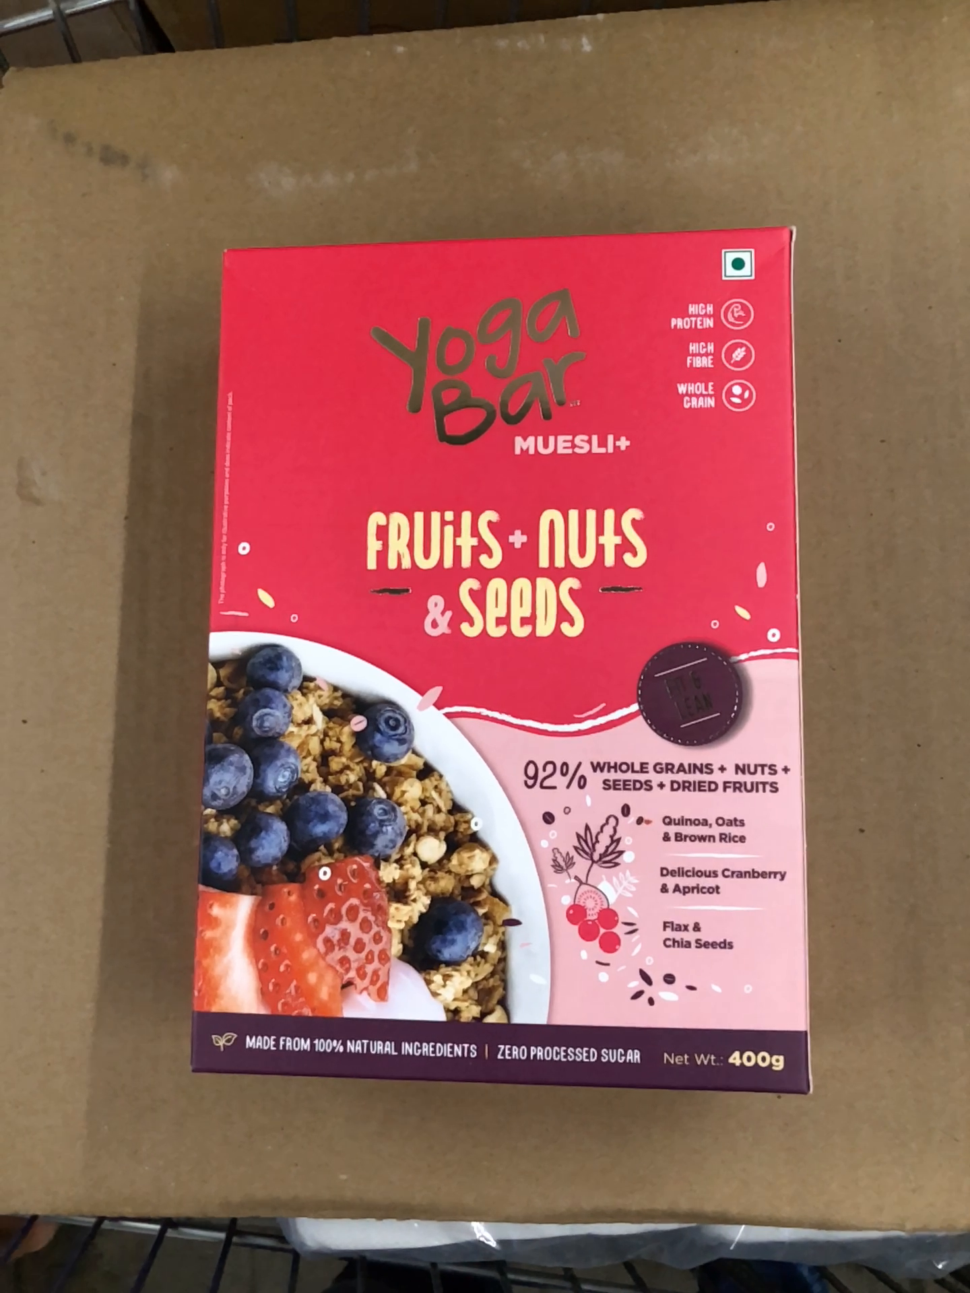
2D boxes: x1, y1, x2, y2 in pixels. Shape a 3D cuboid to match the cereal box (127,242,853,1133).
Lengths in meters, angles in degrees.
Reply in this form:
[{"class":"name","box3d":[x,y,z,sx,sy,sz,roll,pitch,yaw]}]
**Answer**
[{"class":"cereal box","box3d":[0.003,0.008,0.290,0.170,0.060,0.210,1,85,4]}]
